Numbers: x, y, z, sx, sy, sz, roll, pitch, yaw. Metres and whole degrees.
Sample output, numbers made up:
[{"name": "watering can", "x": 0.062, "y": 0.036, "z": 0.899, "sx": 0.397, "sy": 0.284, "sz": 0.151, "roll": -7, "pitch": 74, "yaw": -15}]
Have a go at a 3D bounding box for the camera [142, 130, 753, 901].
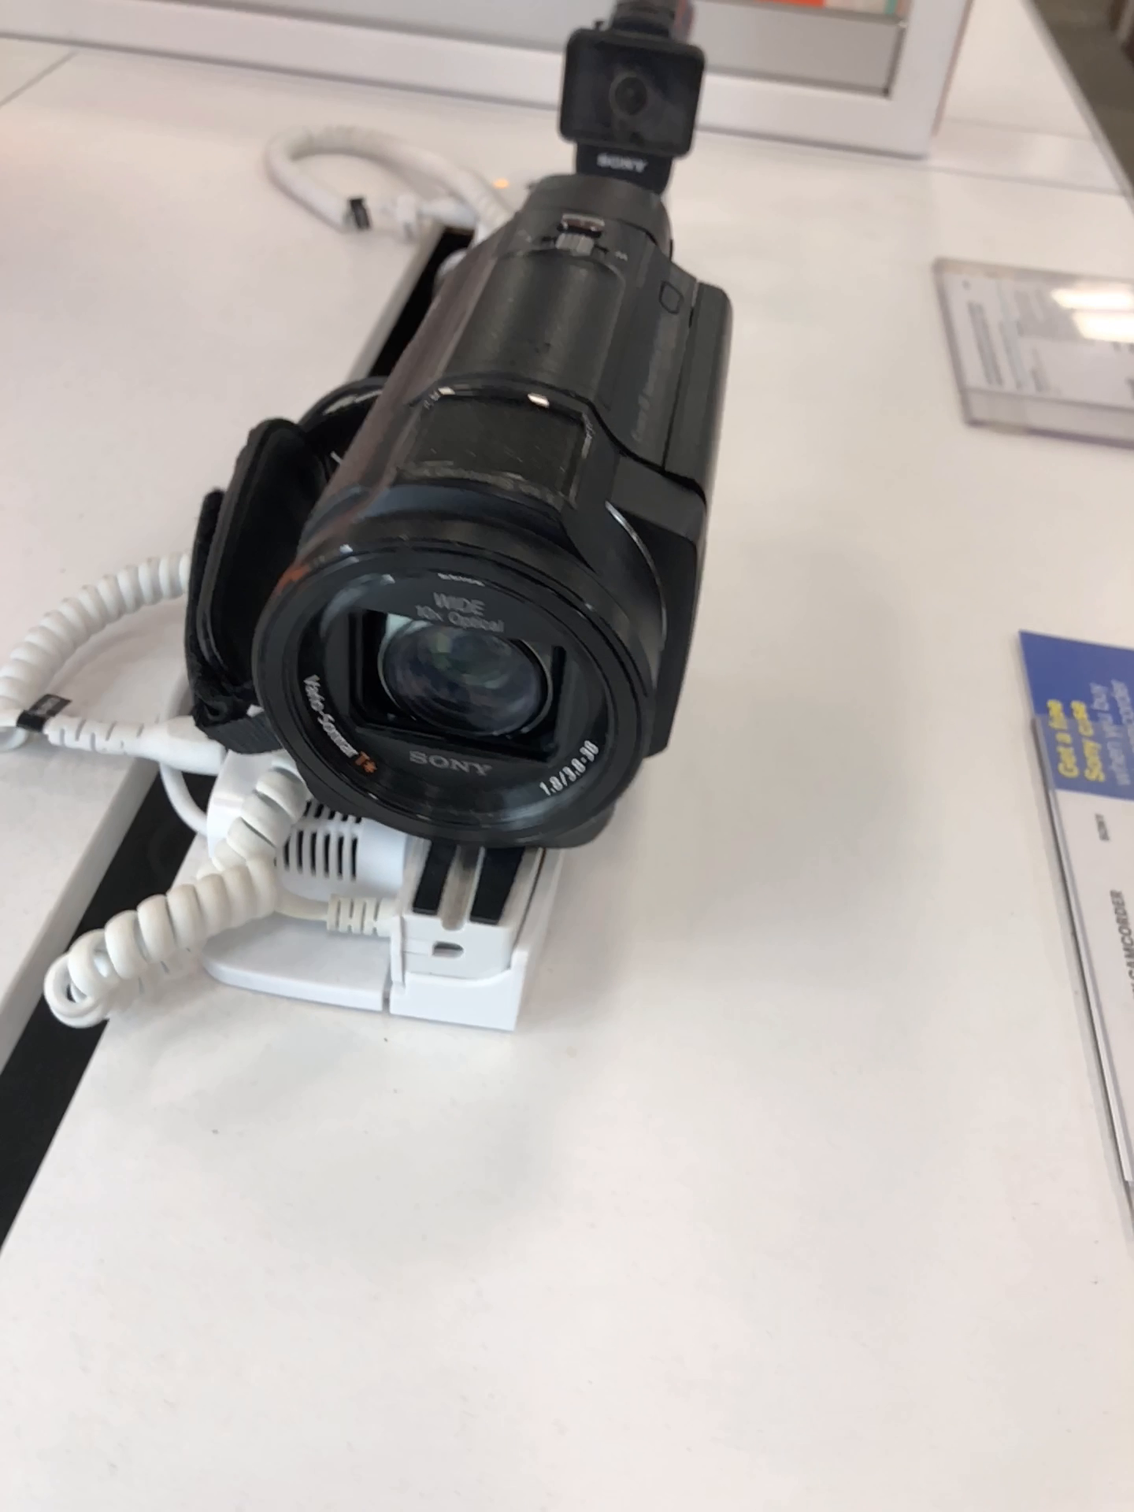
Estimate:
[{"name": "camera", "x": -0.012, "y": -0.057, "z": 0.253, "sx": 0.080, "sy": 0.070, "sz": 0.151, "roll": 9, "pitch": 44, "yaw": 2}]
